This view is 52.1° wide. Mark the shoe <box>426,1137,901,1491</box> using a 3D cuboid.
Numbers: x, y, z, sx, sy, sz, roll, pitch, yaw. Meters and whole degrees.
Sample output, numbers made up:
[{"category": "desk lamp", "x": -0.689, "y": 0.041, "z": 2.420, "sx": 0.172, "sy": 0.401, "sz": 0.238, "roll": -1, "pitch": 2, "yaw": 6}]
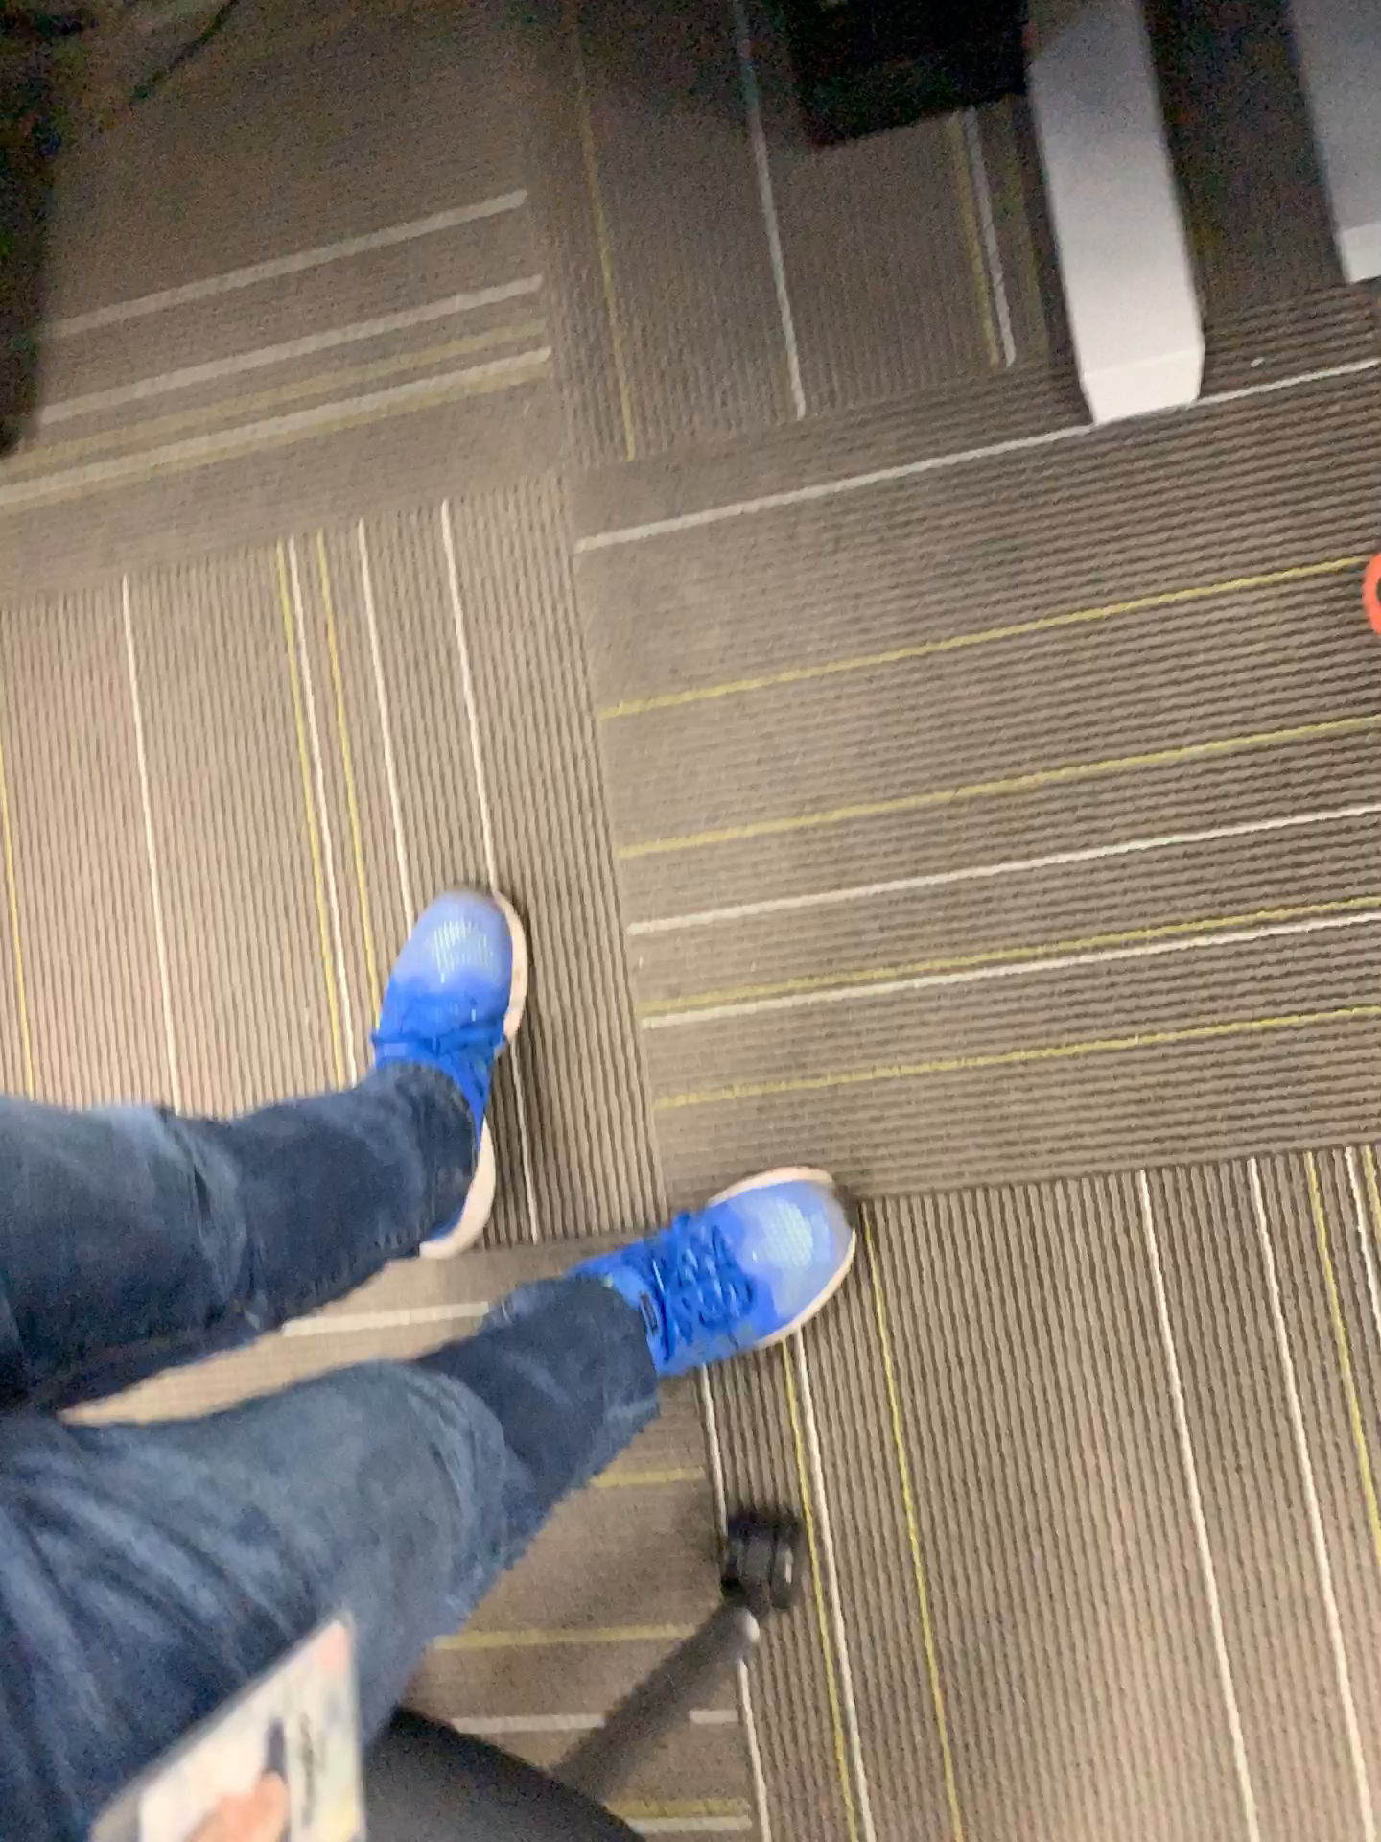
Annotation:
[{"category": "shoe", "x": -0.024, "y": 0.298, "z": 1.070, "sx": 0.339, "sy": 0.088, "sz": 0.119, "roll": -31, "pitch": 79, "yaw": 19}]

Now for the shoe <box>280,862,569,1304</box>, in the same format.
[{"category": "shoe", "x": -0.211, "y": 0.123, "z": 1.121, "sx": 0.142, "sy": 0.088, "sz": 0.310, "roll": 16, "pitch": 99, "yaw": 14}]

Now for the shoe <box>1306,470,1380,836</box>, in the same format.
[{"category": "shoe", "x": 0.553, "y": -0.170, "z": 0.856, "sx": 0.305, "sy": 0.088, "sz": 0.117, "roll": 24, "pitch": 114, "yaw": 18}]
